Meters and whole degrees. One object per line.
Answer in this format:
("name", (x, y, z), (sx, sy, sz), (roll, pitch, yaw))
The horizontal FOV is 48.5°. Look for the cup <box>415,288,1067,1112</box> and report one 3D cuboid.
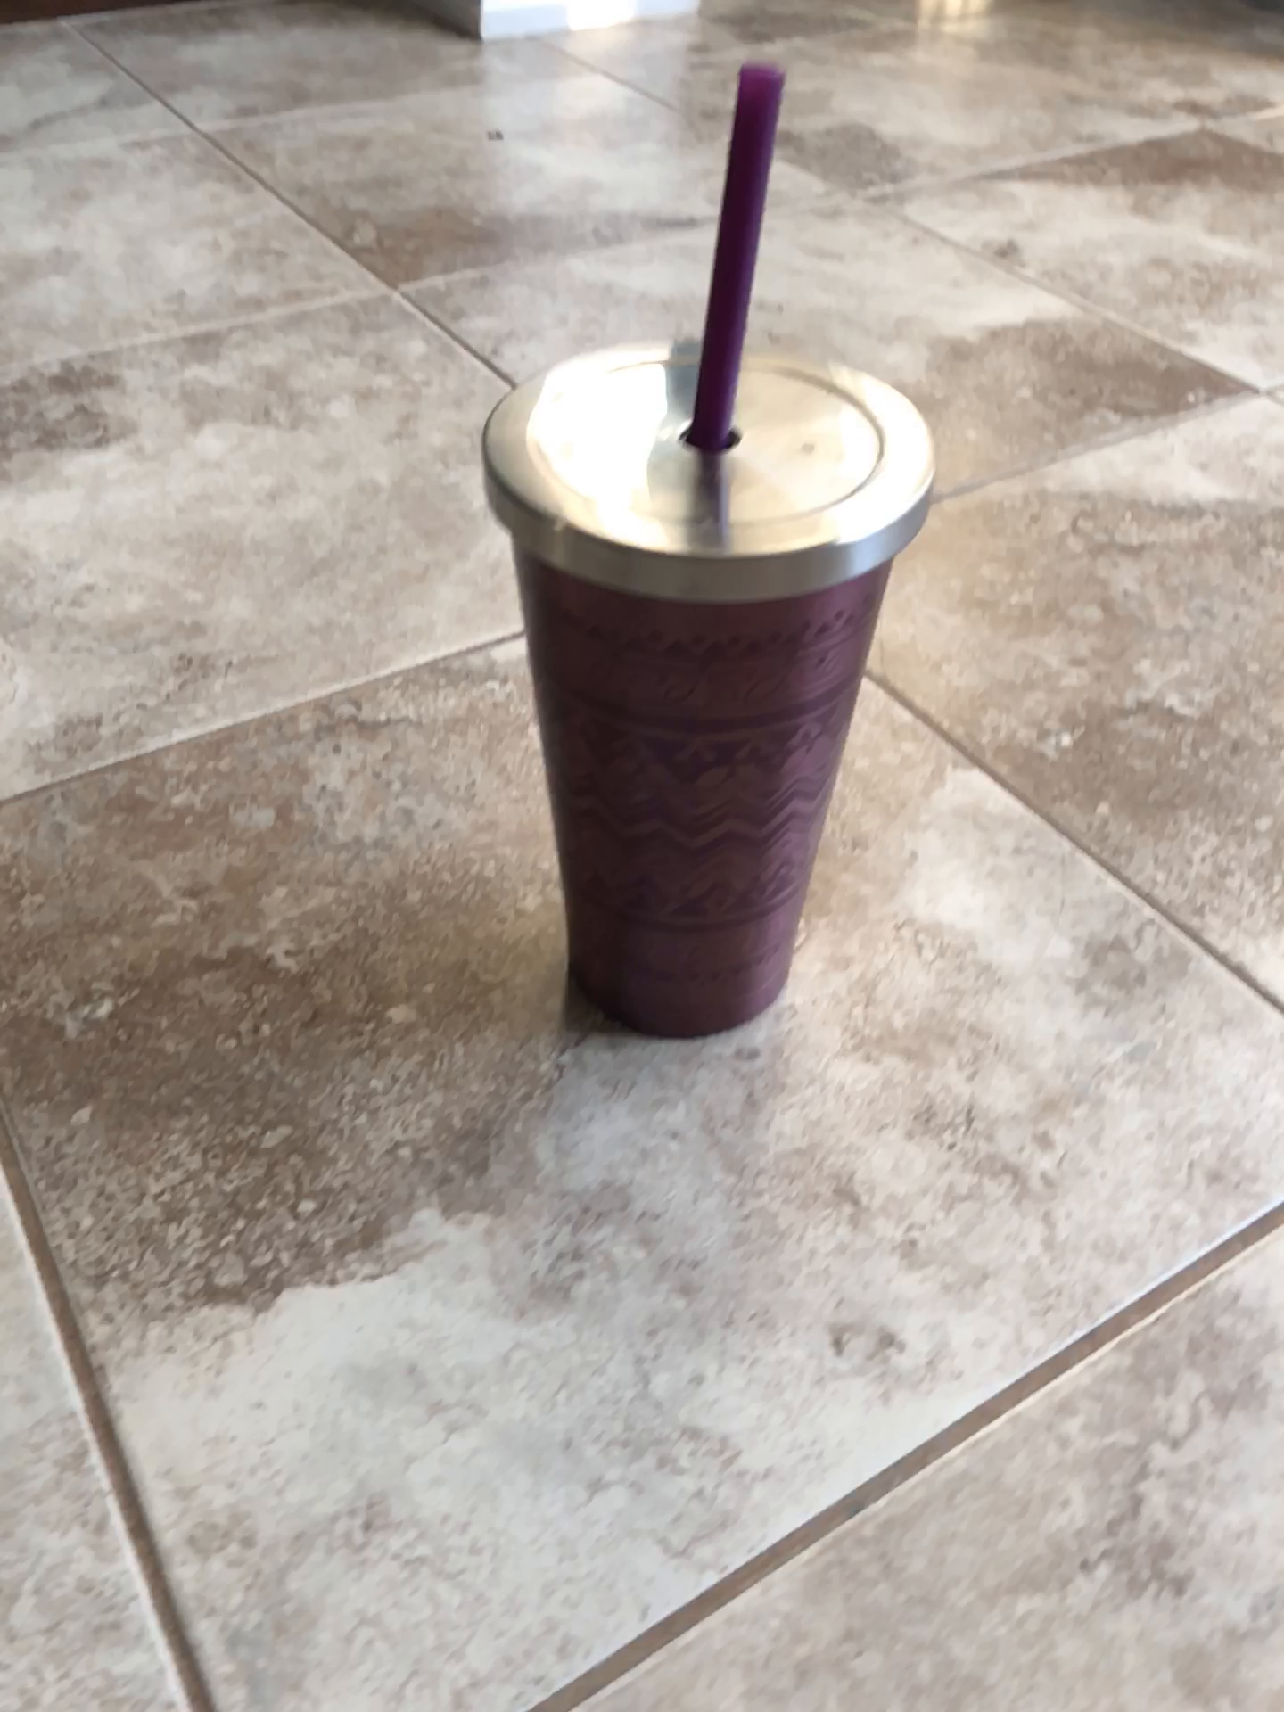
("cup", (0.021, -0.042, 0.385), (0.111, 0.165, 0.102), (1, 42, -1))
